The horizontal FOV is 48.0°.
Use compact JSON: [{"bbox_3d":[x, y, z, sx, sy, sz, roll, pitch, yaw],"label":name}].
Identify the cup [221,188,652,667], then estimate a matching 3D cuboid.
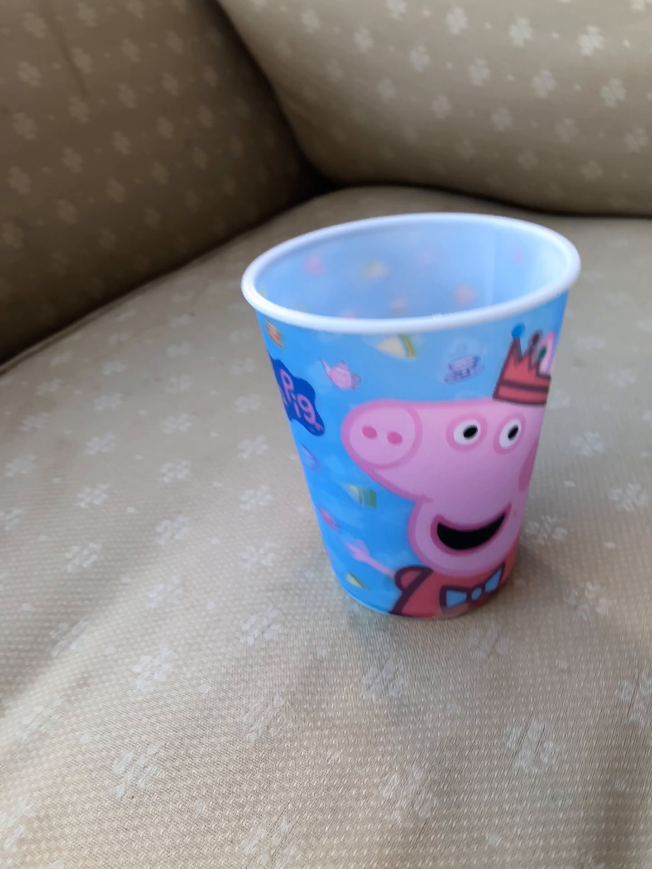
[{"bbox_3d":[0.027,-0.007,0.228,0.091,0.100,0.087,-4,35,3],"label":"cup"}]
